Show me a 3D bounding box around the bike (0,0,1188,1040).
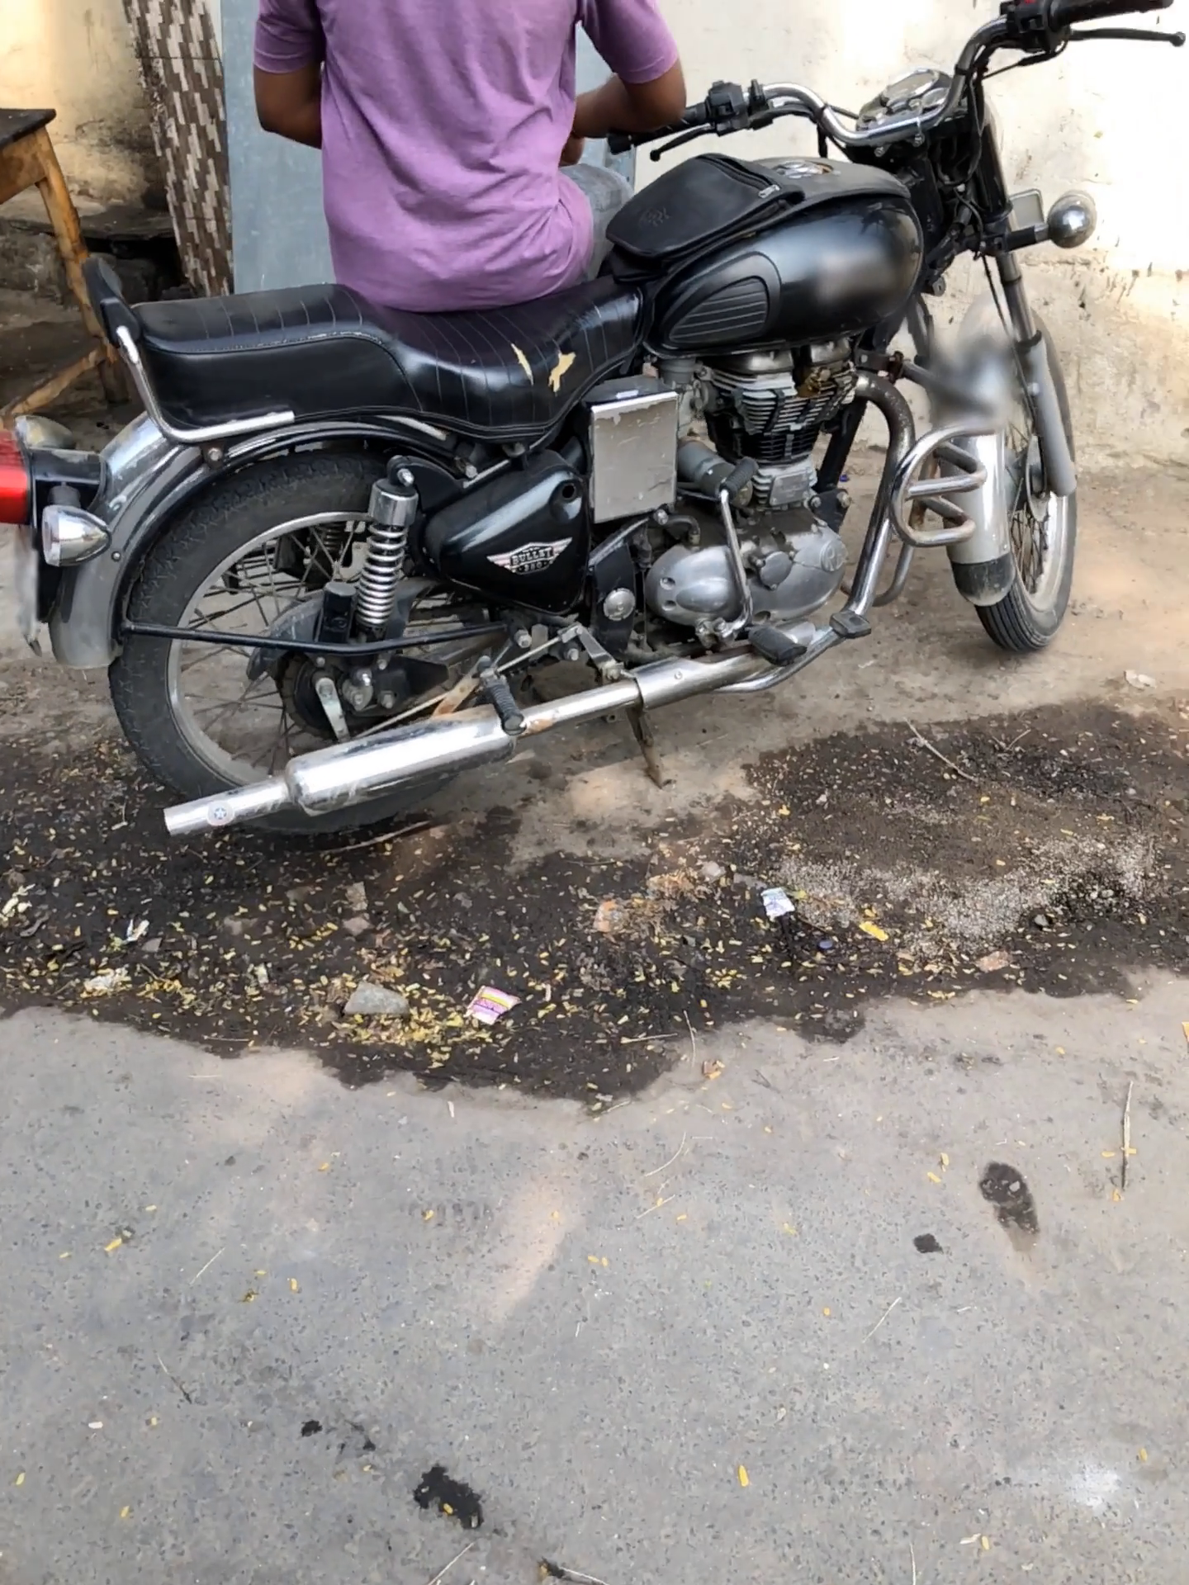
[{"bbox_3d":[0.107,-0.695,2.203,1.925,1.173,0.841,-22,41,-21],"label":"bike"}]
